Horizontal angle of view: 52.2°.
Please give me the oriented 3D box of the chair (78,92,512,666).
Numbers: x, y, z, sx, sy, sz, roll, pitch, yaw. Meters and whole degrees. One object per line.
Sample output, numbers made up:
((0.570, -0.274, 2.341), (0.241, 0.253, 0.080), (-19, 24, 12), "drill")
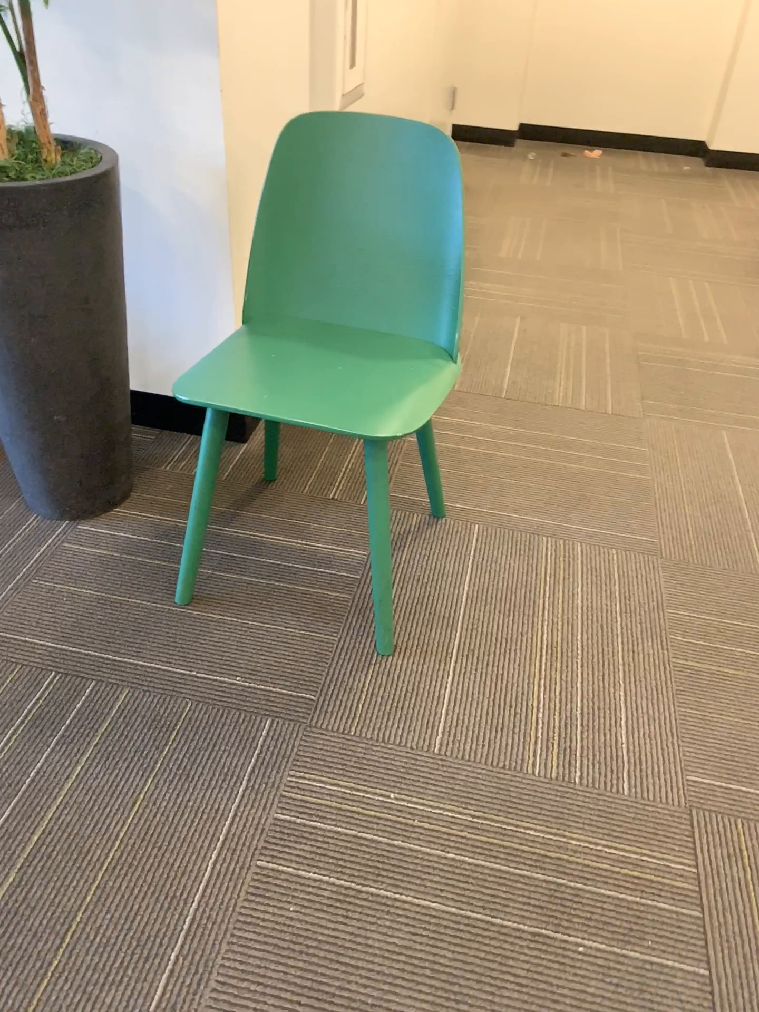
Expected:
((-0.096, -0.233, 1.358), (0.480, 0.765, 0.543), (11, 37, 9), "chair")
